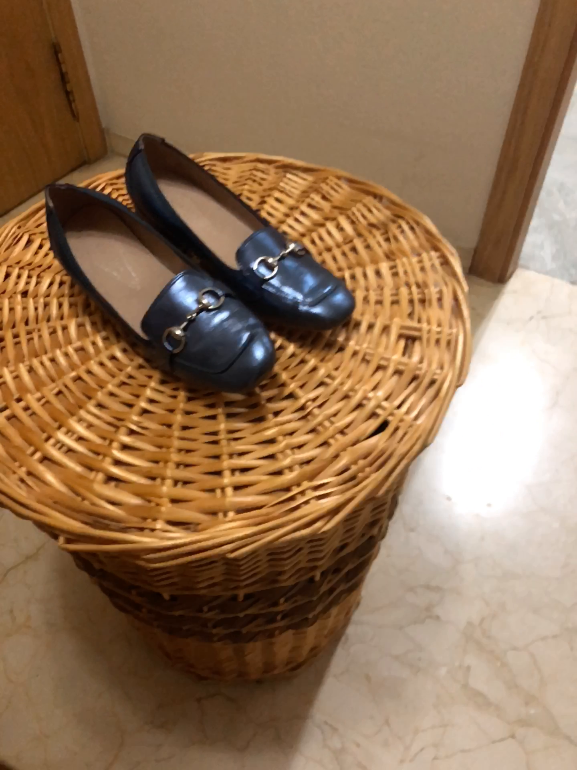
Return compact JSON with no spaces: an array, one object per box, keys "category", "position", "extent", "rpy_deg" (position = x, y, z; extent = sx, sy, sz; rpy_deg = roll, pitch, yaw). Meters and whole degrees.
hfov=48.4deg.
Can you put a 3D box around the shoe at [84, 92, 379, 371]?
[{"category":"shoe","position":[-0.055,-0.142,0.586],"extent":[0.260,0.090,0.090],"rpy_deg":[39,66,14]}]

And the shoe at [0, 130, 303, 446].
[{"category":"shoe","position":[-0.116,-0.083,0.540],"extent":[0.100,0.090,0.250],"rpy_deg":[-41,76,-21]}]
